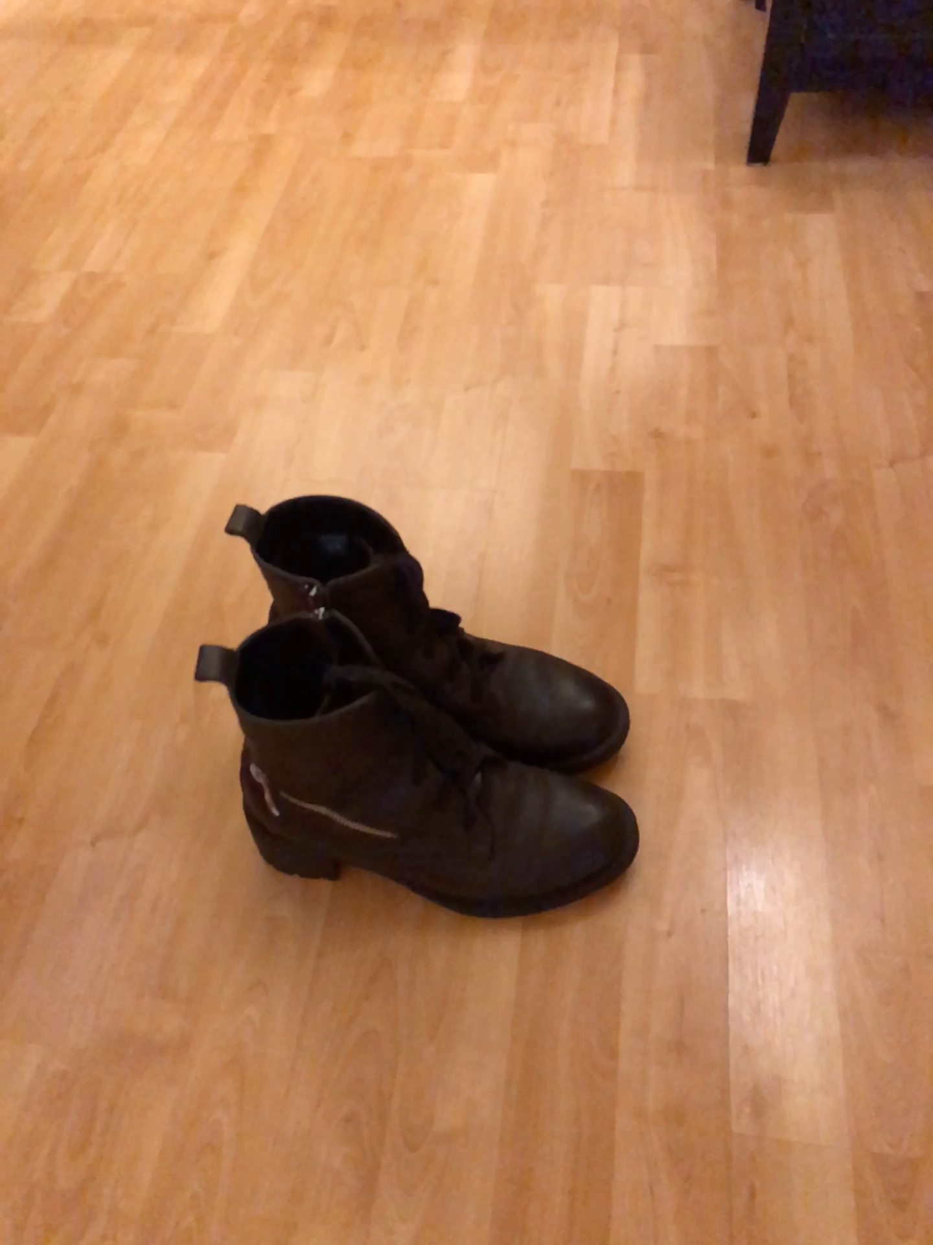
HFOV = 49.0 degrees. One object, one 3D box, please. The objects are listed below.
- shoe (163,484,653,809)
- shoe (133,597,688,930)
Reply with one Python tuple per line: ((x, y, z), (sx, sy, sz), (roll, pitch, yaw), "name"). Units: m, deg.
((-0.024, 0.019, 0.660), (0.270, 0.180, 0.110), (3, 52, 7), "shoe")
((-0.021, 0.086, 0.596), (0.270, 0.180, 0.110), (1, 52, 5), "shoe")
